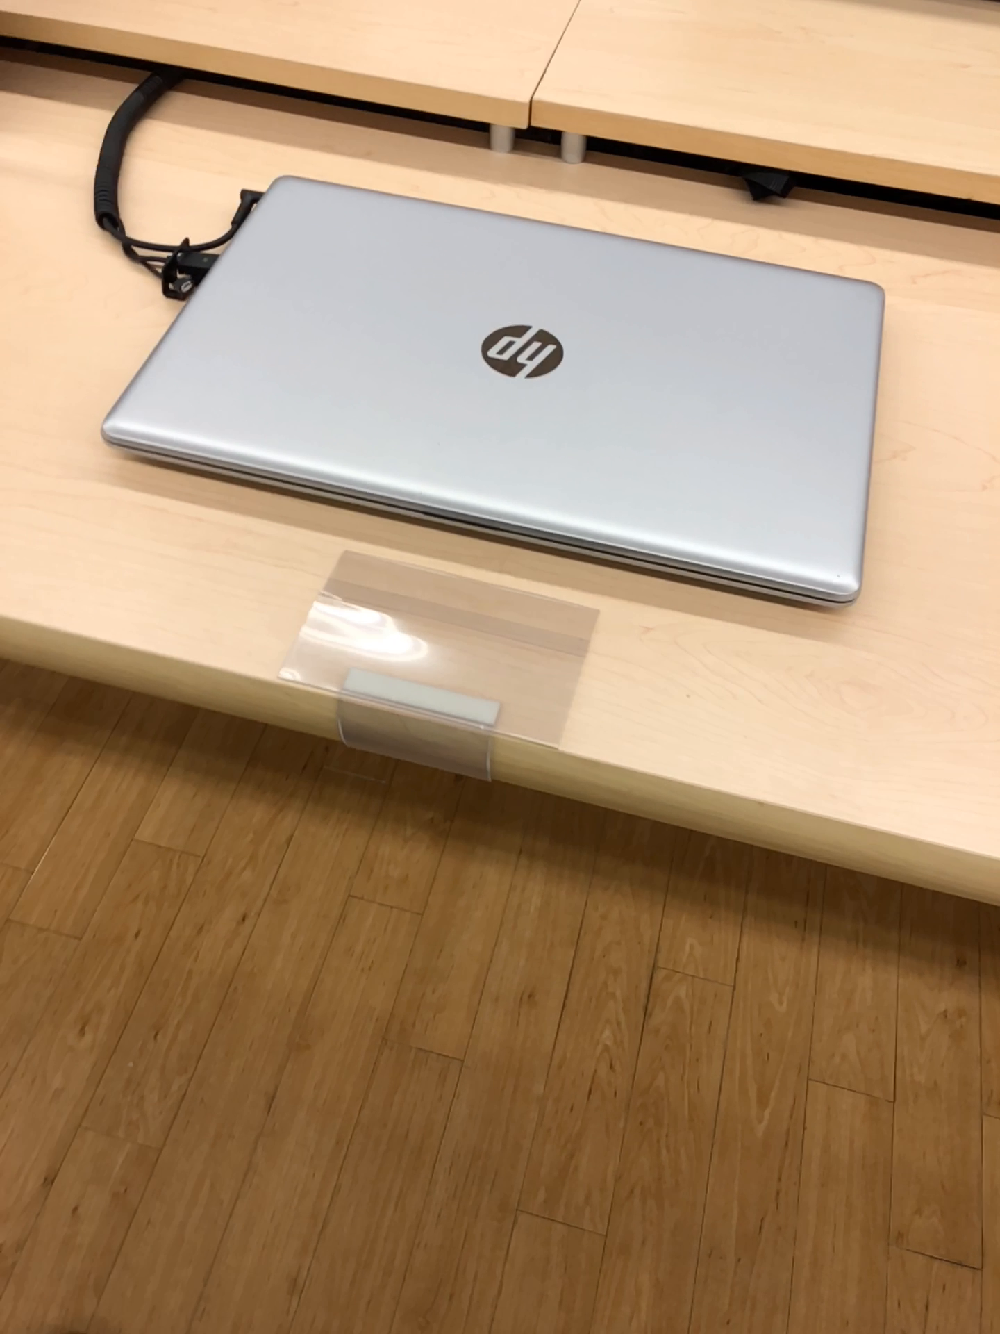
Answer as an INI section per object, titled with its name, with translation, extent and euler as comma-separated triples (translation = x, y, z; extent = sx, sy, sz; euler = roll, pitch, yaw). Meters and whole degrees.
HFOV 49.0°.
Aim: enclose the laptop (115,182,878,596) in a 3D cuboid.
[laptop]
translation = 0.015, -0.182, 0.645
extent = 0.397, 0.001, 0.258
euler = 13, 55, 7
